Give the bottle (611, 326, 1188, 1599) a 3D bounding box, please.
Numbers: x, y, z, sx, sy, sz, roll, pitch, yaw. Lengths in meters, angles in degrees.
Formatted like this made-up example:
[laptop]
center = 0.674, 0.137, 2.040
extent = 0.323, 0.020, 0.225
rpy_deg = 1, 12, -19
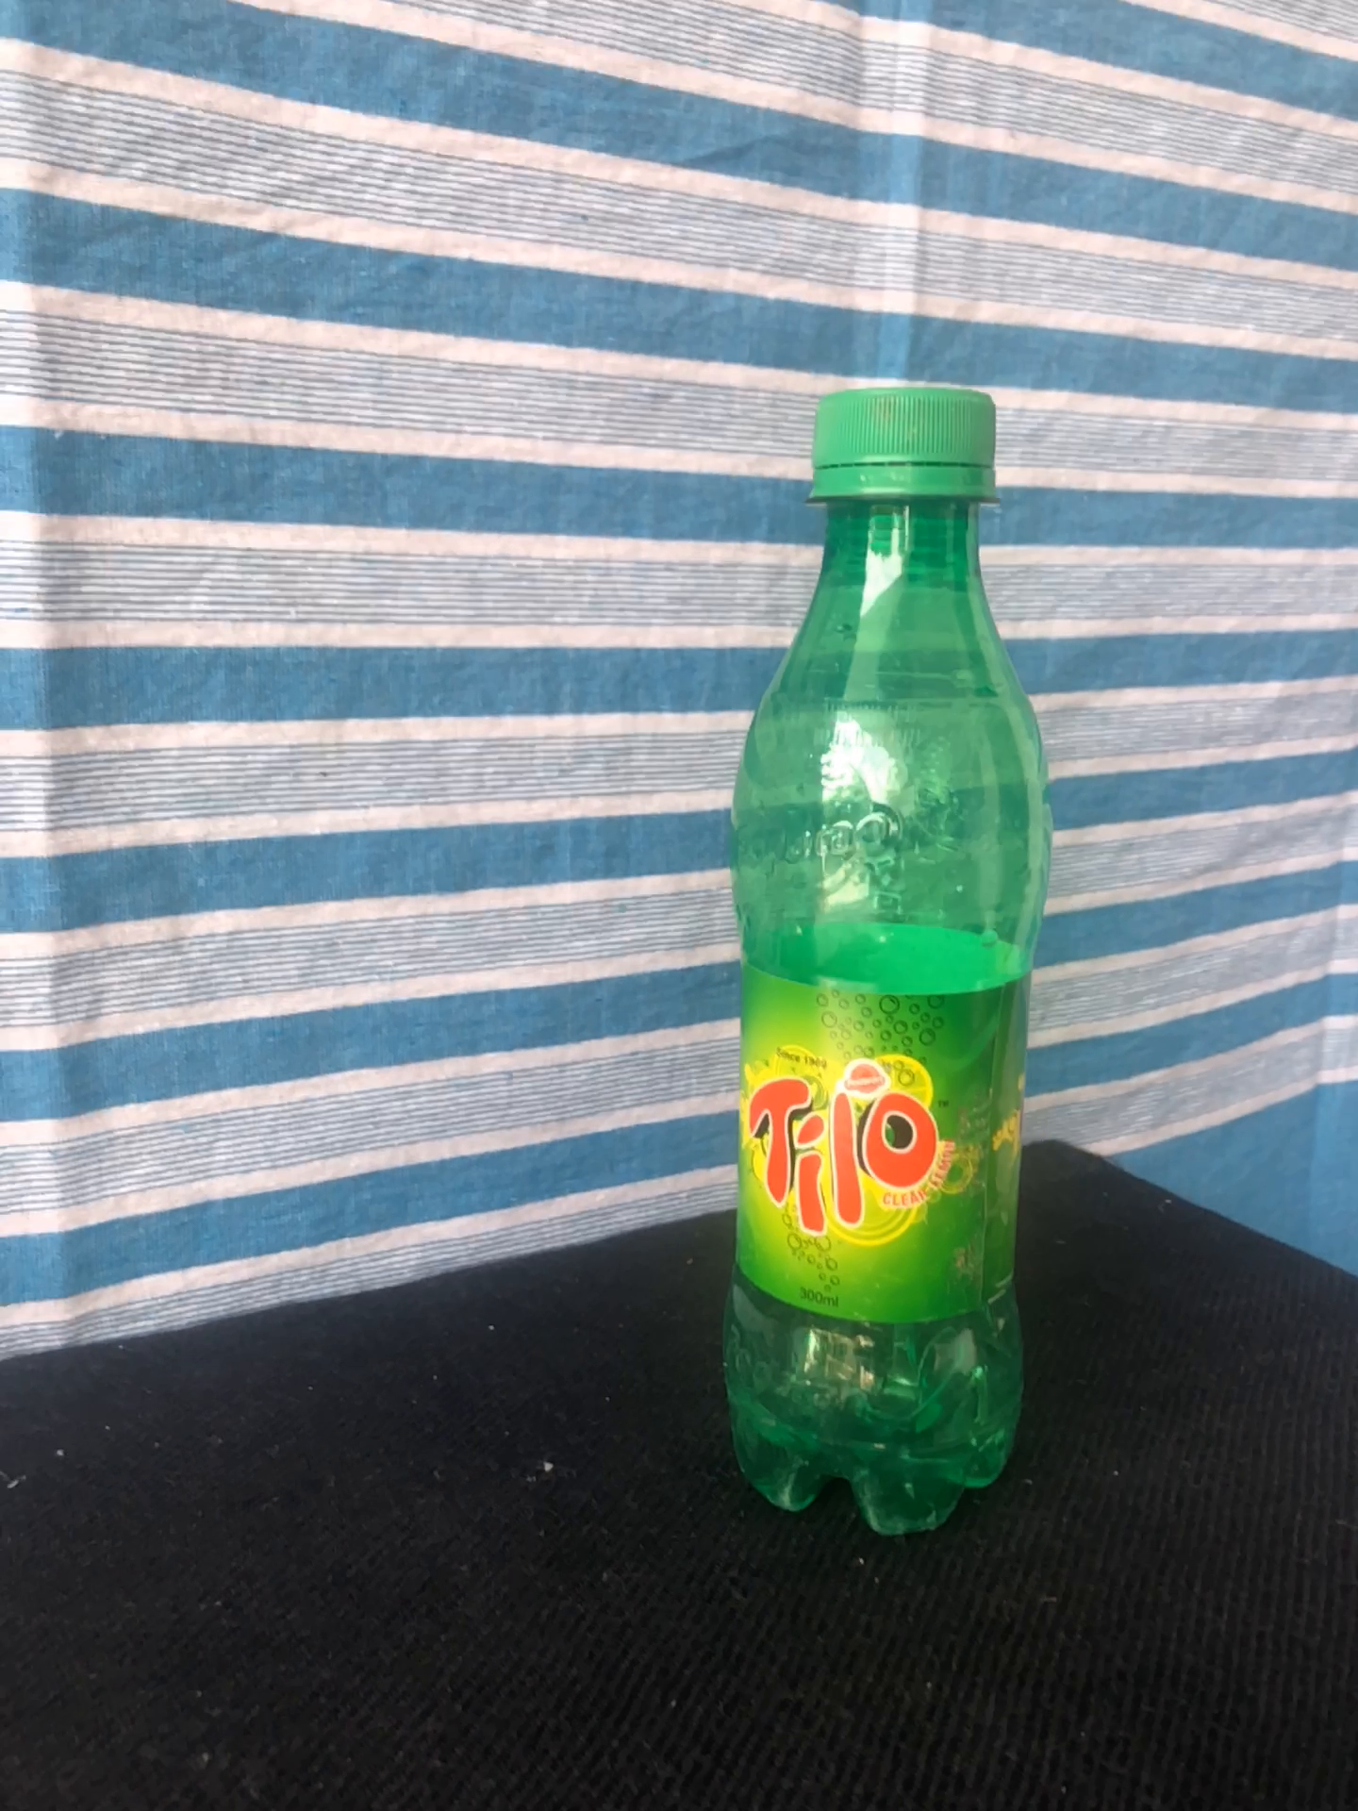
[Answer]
[bottle]
center = 0.035, 0.009, 0.273
extent = 0.070, 0.199, 0.070
rpy_deg = 4, 11, -1
